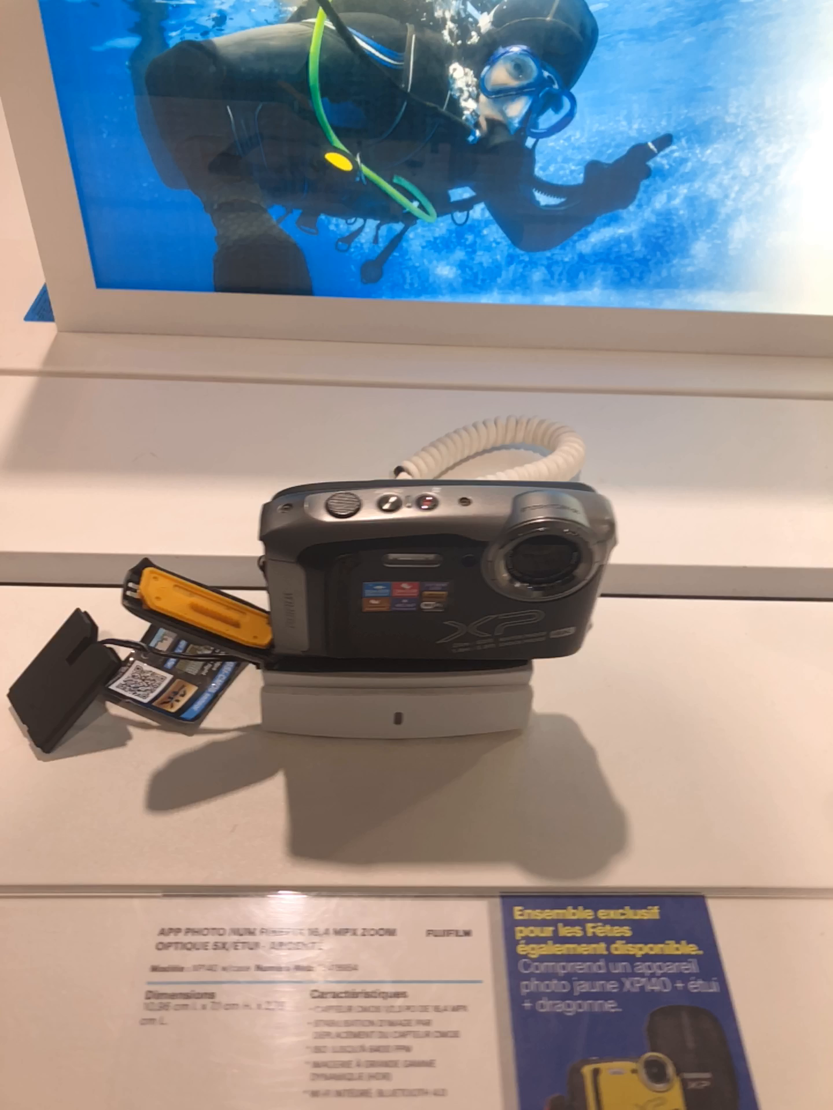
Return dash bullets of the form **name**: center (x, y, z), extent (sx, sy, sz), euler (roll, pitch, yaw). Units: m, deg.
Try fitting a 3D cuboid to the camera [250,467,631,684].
- **camera**: center (0.005, 0.008, 0.287), extent (0.106, 0.069, 0.023), euler (-1, 42, -5)
